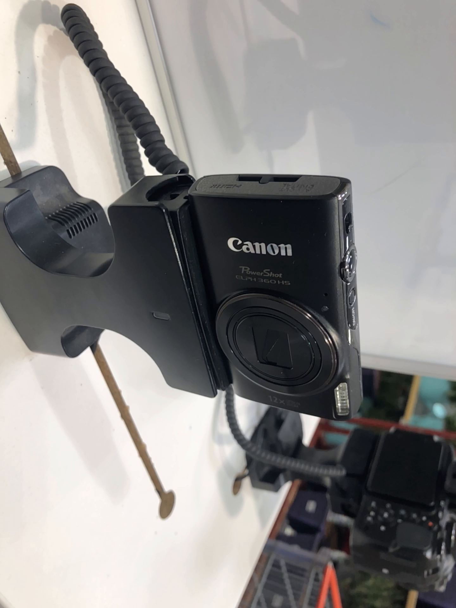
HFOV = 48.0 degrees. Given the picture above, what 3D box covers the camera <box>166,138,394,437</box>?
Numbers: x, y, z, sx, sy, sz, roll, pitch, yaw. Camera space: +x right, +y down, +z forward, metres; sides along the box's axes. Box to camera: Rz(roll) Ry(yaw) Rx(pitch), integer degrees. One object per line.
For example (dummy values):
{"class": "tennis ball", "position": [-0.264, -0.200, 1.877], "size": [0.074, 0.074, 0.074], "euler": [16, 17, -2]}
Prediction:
{"class": "camera", "position": [0.026, -0.004, 0.204], "size": [0.030, 0.070, 0.110], "euler": [-50, 137, -46]}
